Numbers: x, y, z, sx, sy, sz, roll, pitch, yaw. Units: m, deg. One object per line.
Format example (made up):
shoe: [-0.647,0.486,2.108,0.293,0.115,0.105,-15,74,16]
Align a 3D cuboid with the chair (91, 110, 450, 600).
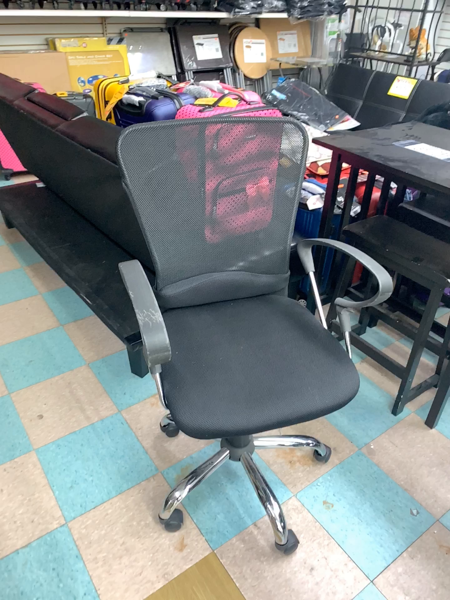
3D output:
chair: [0.072,0.131,1.169,0.621,1.019,0.603,-9,36,-18]
